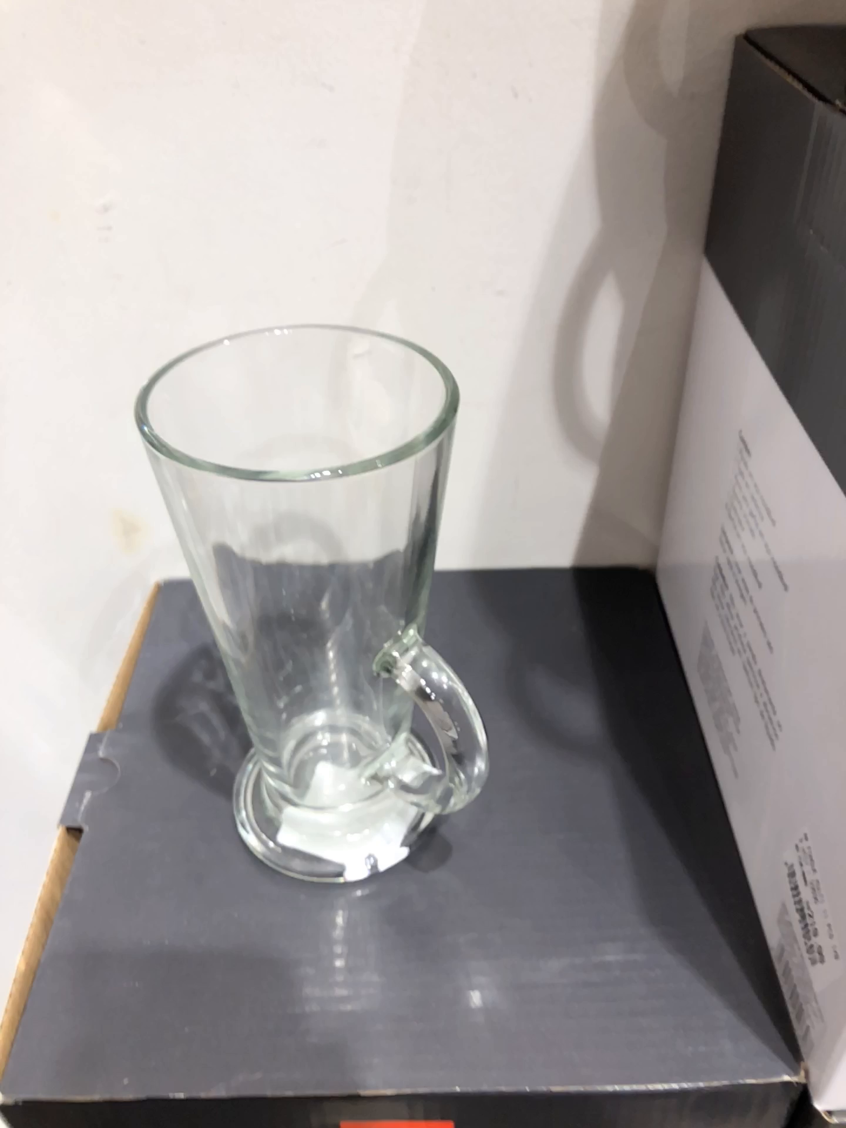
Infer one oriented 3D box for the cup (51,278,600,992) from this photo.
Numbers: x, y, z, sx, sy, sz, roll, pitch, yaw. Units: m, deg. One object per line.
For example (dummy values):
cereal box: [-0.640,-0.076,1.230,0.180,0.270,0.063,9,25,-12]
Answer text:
cup: [-0.020,0.019,0.255,0.090,0.149,0.080,29,48,32]
